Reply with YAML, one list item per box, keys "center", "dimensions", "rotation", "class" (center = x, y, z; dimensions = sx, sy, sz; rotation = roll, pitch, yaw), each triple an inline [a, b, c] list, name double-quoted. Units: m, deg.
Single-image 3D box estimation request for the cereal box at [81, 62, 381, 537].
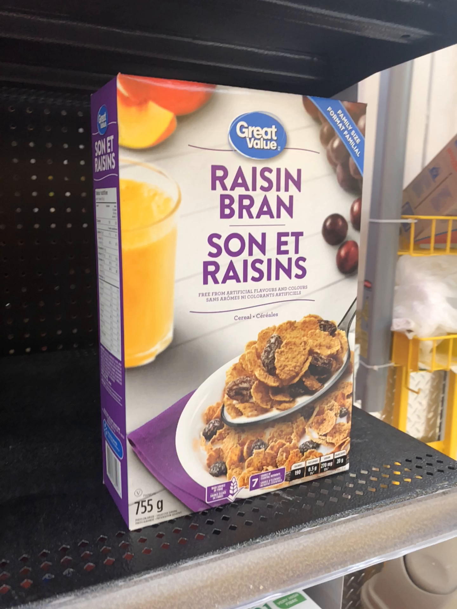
- center: [0.005, -0.005, 0.394]
  dimensions: [0.210, 0.299, 0.070]
  rotation: [-5, 12, -28]
  class: "cereal box"
